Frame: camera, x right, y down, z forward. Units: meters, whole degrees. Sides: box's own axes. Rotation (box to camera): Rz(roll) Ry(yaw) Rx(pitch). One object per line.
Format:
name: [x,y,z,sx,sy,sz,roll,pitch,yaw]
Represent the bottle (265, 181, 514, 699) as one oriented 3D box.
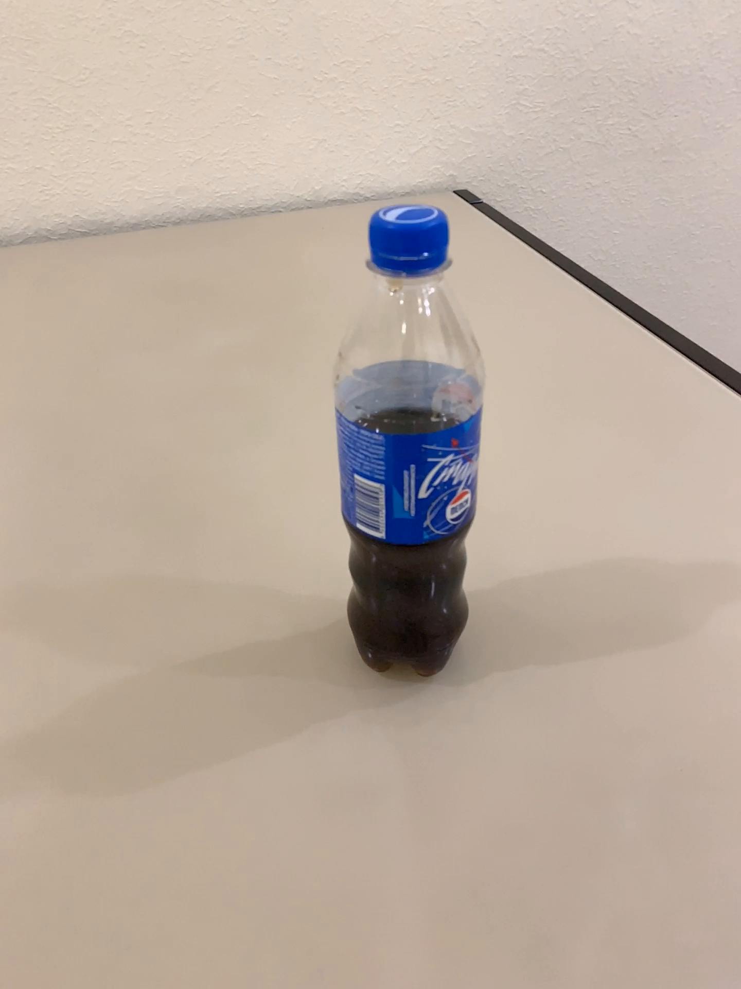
bottle: [0.014,-0.016,0.359,0.080,0.229,0.080,-1,37,1]
